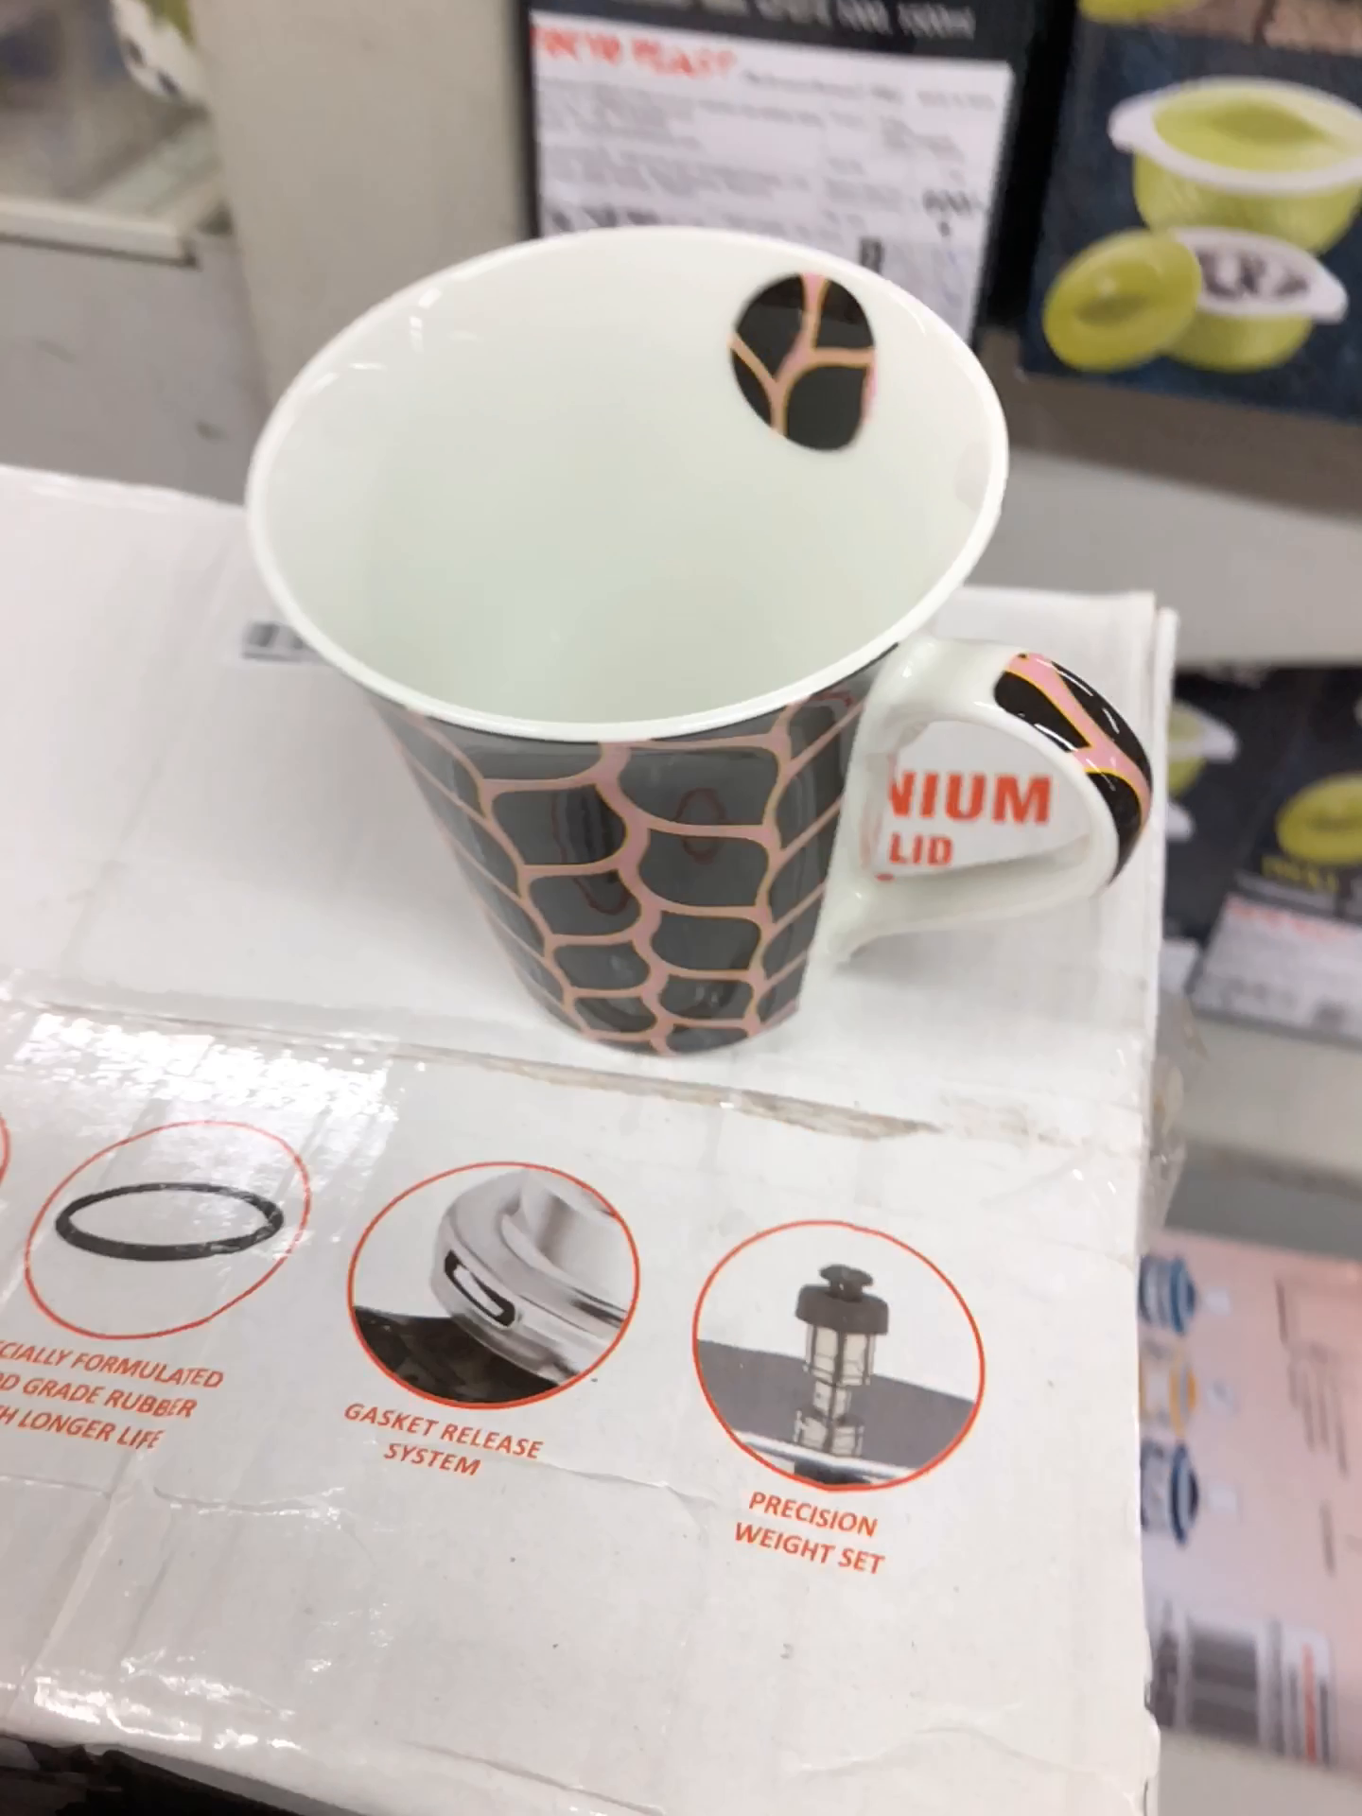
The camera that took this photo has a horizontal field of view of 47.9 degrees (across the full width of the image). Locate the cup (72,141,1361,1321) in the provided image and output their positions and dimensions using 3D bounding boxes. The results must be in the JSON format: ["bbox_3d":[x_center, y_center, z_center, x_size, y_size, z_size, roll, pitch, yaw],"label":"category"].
[{"bbox_3d":[0.009,-0.026,0.194,0.110,0.079,0.091,23,57,19],"label":"cup"}]
